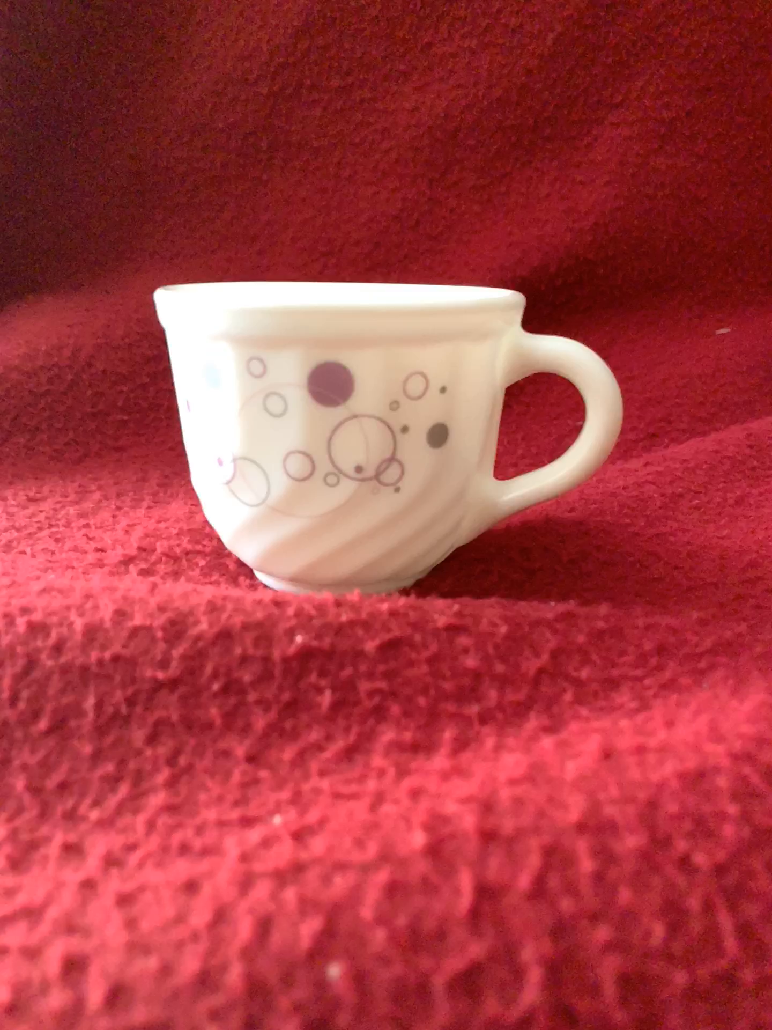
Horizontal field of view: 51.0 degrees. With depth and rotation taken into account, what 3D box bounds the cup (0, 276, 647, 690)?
[{"bbox_3d":[-0.005,-0.017,0.164,0.100,0.050,0.080,8,23,19],"label":"cup"}]
